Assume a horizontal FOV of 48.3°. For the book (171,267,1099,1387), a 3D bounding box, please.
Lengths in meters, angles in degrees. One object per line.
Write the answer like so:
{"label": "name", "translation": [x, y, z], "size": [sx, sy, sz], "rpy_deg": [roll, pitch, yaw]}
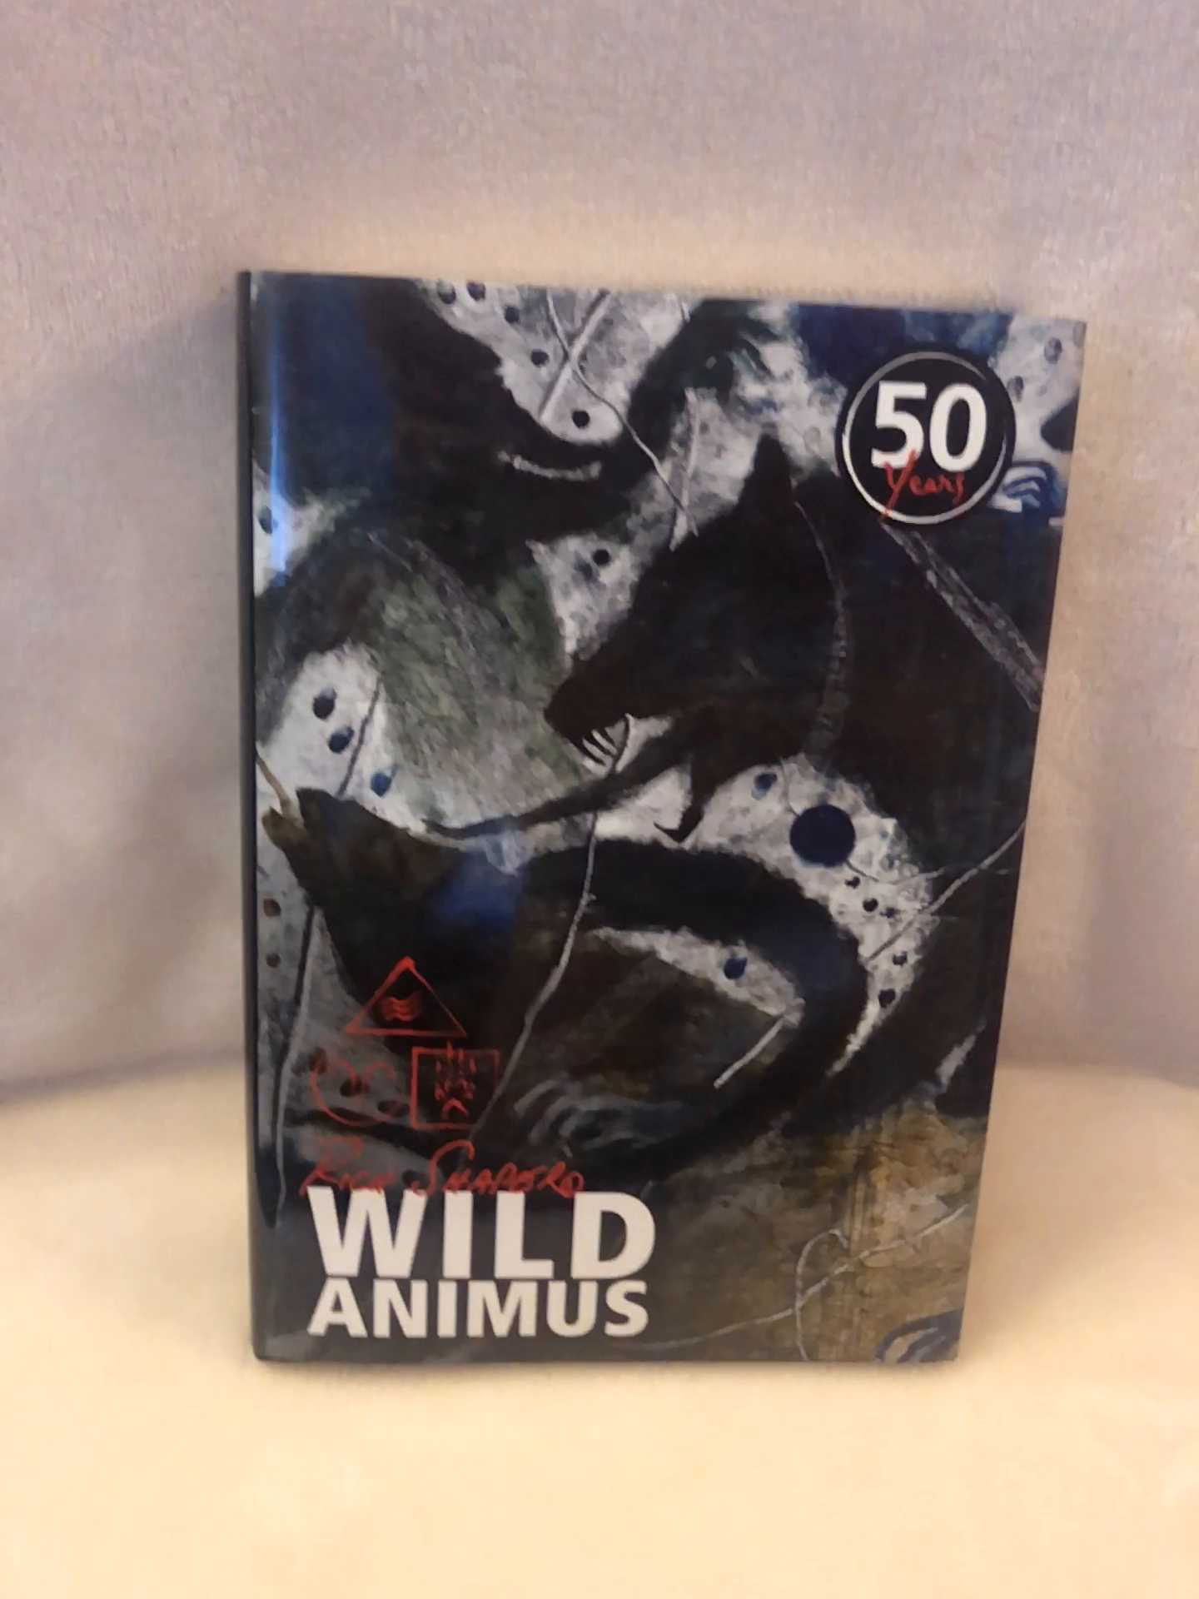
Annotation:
{"label": "book", "translation": [0.003, 0.011, 0.278], "size": [0.163, 0.216, 0.043], "rpy_deg": [1, 12, -4]}
